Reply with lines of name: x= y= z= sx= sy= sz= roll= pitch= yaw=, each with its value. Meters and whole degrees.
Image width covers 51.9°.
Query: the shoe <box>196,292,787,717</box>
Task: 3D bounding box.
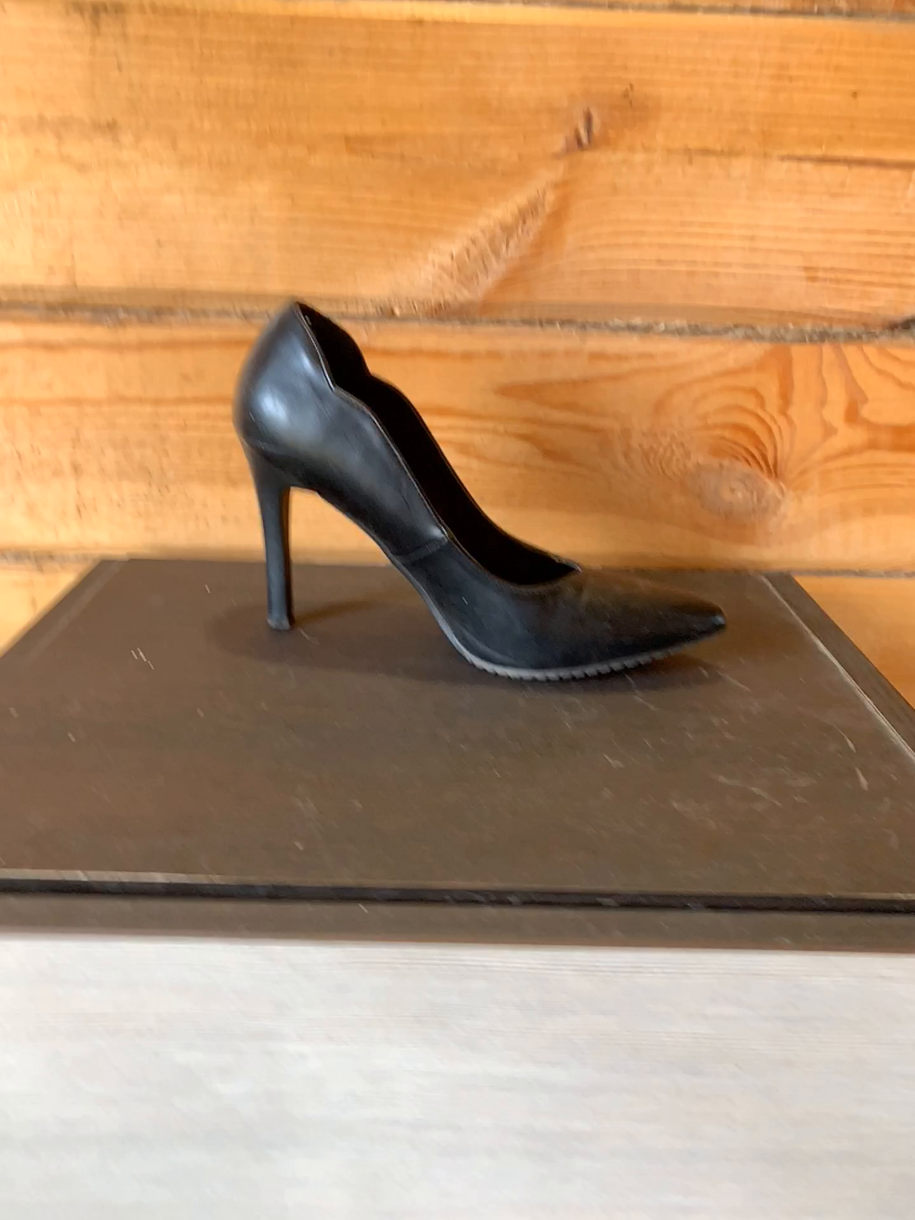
shoe: x=0.013 y=-0.055 z=0.418 sx=0.220 sy=0.149 sz=0.101 roll=6 pitch=21 yaw=9
